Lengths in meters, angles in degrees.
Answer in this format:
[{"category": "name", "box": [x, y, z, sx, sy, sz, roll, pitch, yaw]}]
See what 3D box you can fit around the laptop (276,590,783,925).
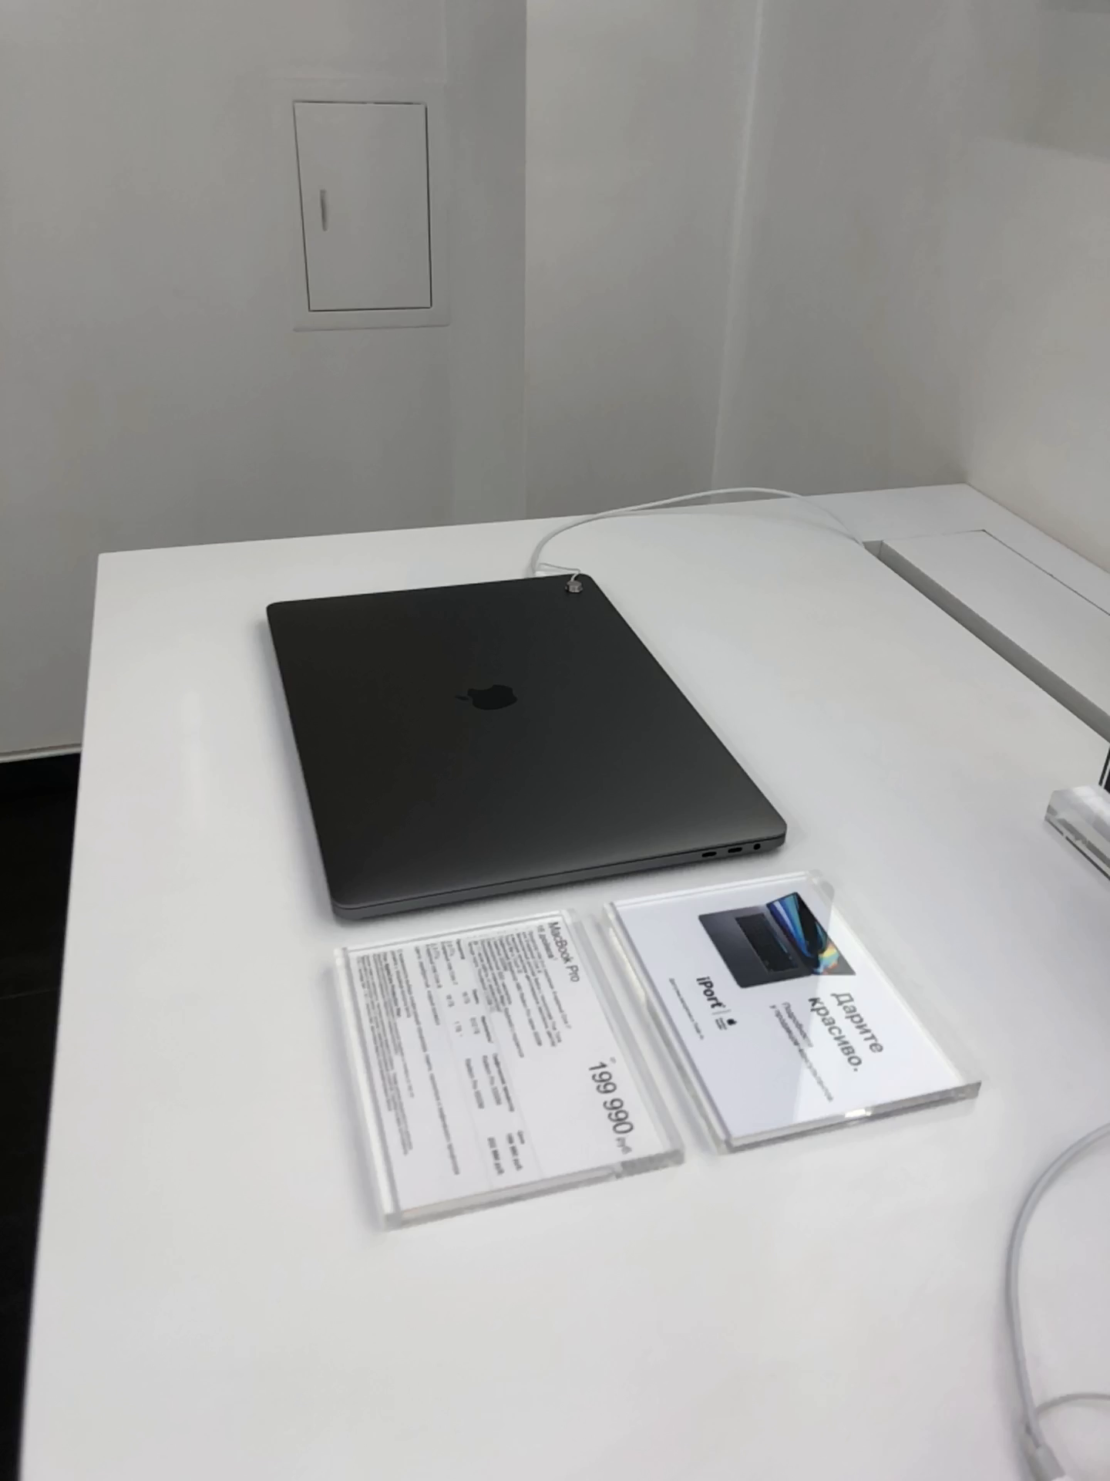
[{"category": "laptop", "box": [-0.040, -0.013, 0.754, 0.231, 0.003, 0.346, -8, 31, -14]}]
